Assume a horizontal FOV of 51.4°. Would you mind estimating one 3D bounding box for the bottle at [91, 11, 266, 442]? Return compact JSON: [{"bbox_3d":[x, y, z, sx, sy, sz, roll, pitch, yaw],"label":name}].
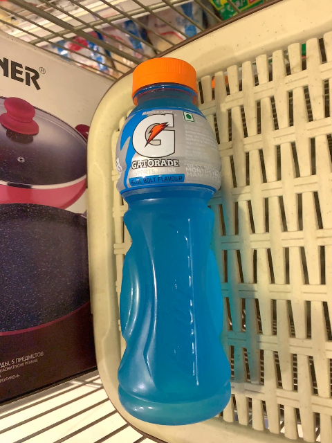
[{"bbox_3d":[0.010,0.004,0.206,0.080,0.060,0.210,-4,87,19],"label":"bottle"}]
